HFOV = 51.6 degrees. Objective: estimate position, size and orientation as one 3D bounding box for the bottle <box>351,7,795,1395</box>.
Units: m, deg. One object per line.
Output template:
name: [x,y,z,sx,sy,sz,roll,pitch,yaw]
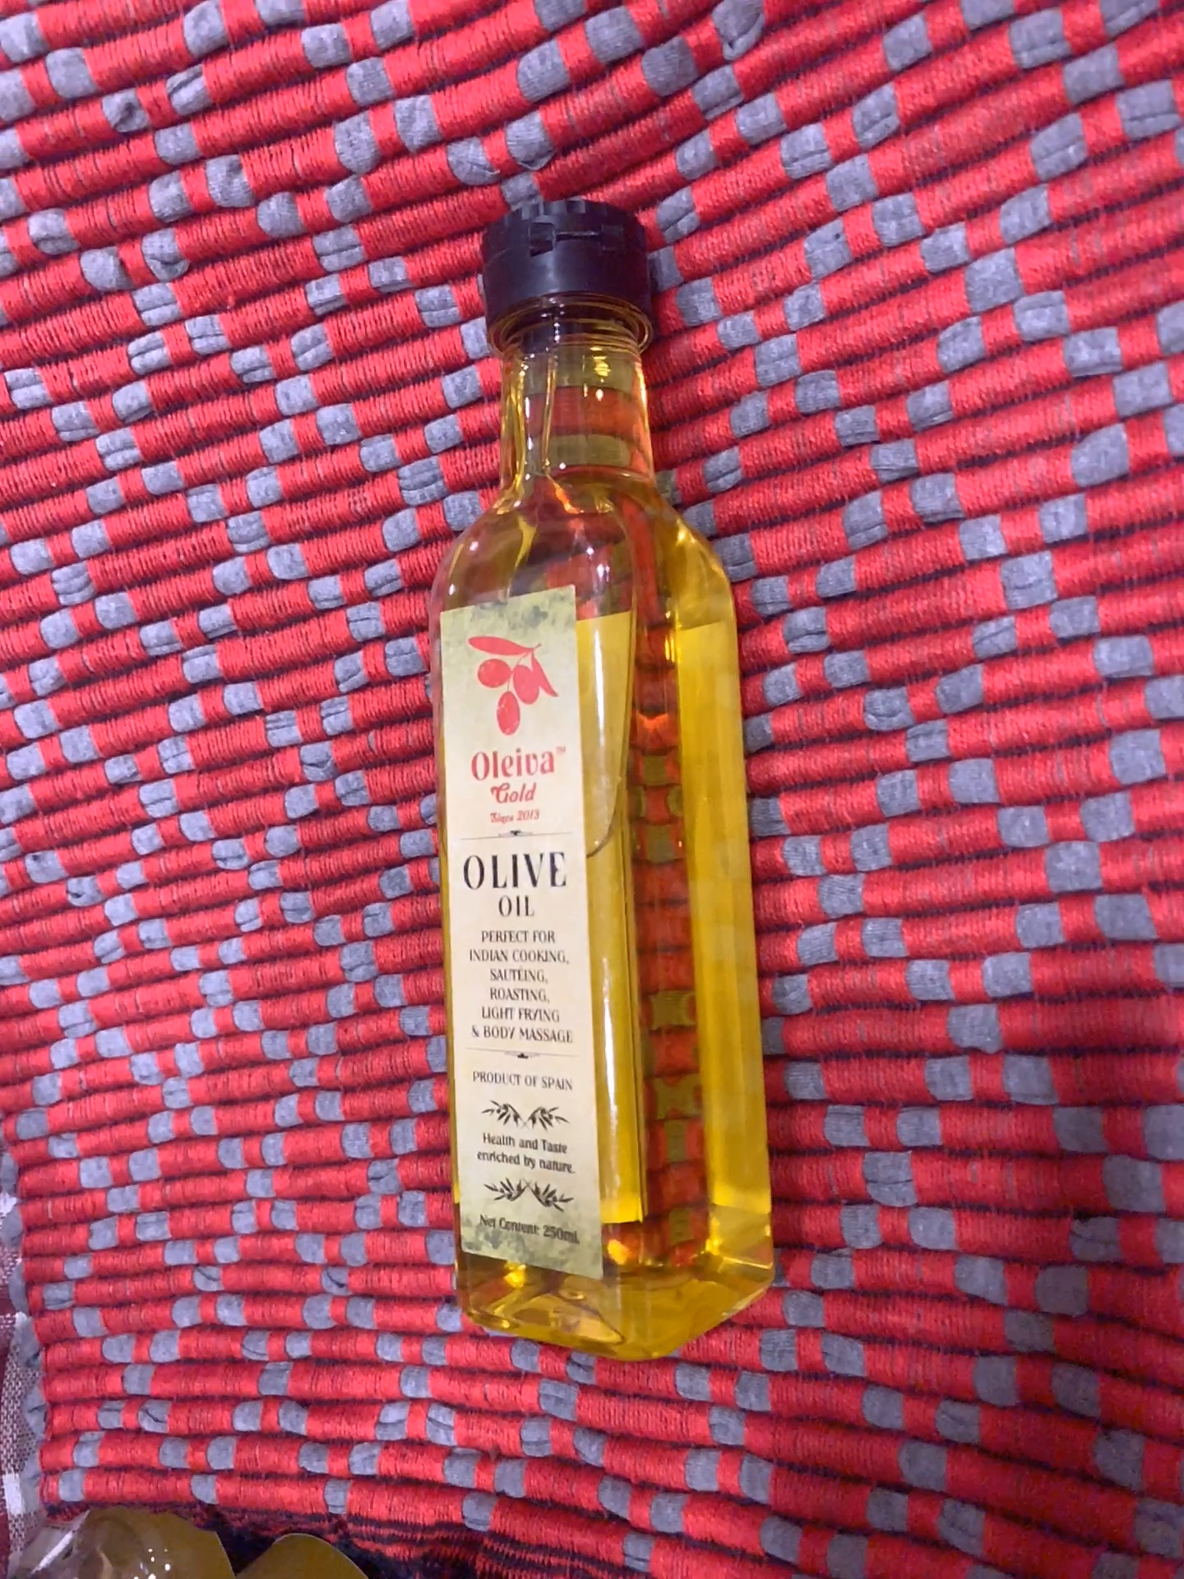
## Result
bottle: [-0.004,-0.015,0.218,0.050,0.050,0.210,-6,84,37]
